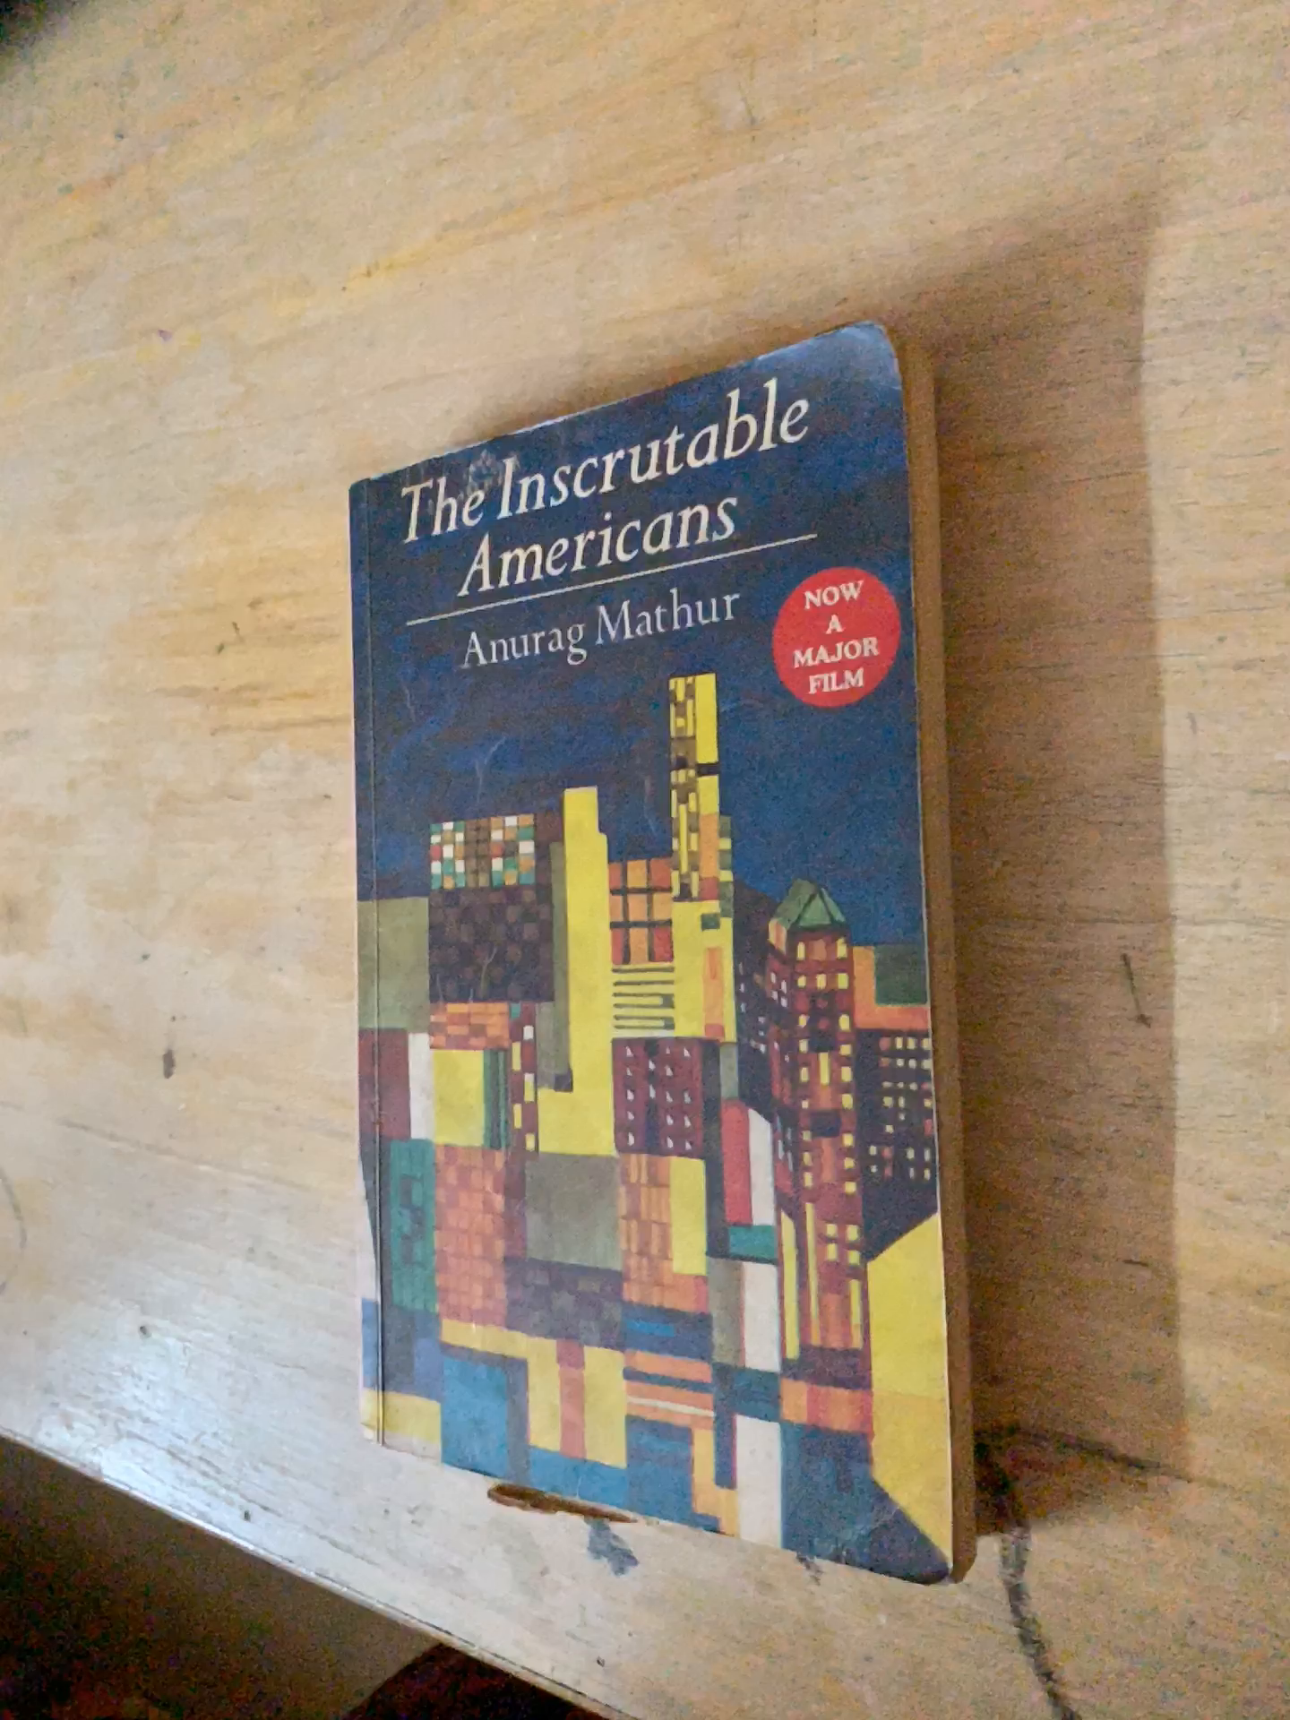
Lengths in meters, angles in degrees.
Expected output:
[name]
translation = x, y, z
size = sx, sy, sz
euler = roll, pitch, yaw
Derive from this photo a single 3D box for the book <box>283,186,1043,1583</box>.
[book]
translation = -0.004, 0.004, 0.218
size = 0.120, 0.030, 0.180
euler = -4, 86, 33
